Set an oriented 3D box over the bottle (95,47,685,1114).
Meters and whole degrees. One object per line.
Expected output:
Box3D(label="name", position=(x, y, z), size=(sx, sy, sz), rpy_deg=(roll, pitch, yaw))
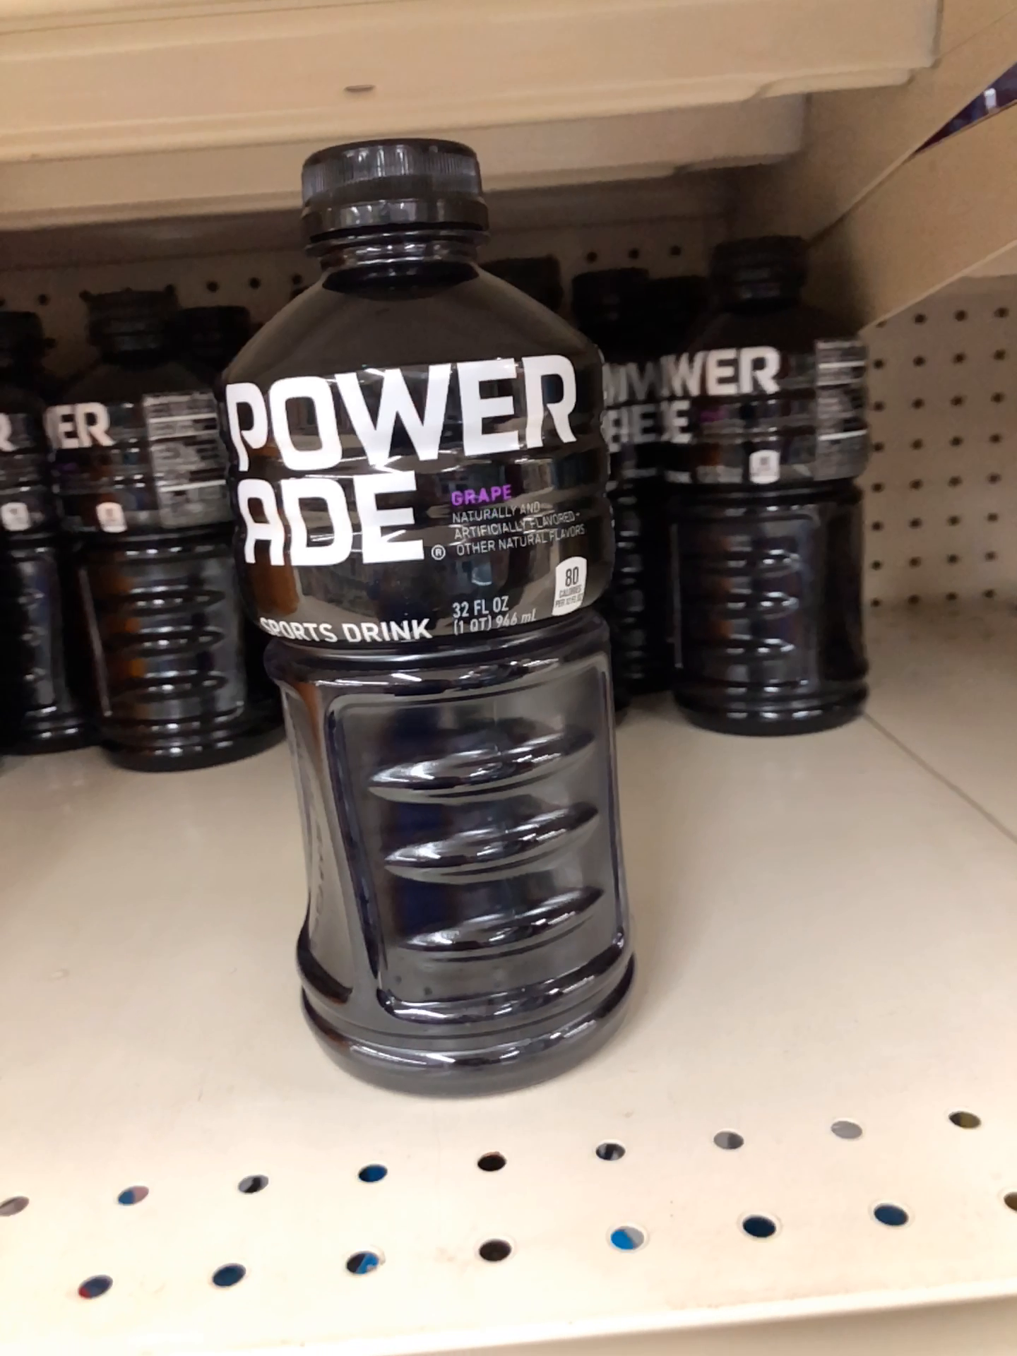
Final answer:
Box3D(label="bottle", position=(-0.018, -0.019, 0.271), size=(0.098, 0.210, 0.090), rpy_deg=(-4, 15, 1))
